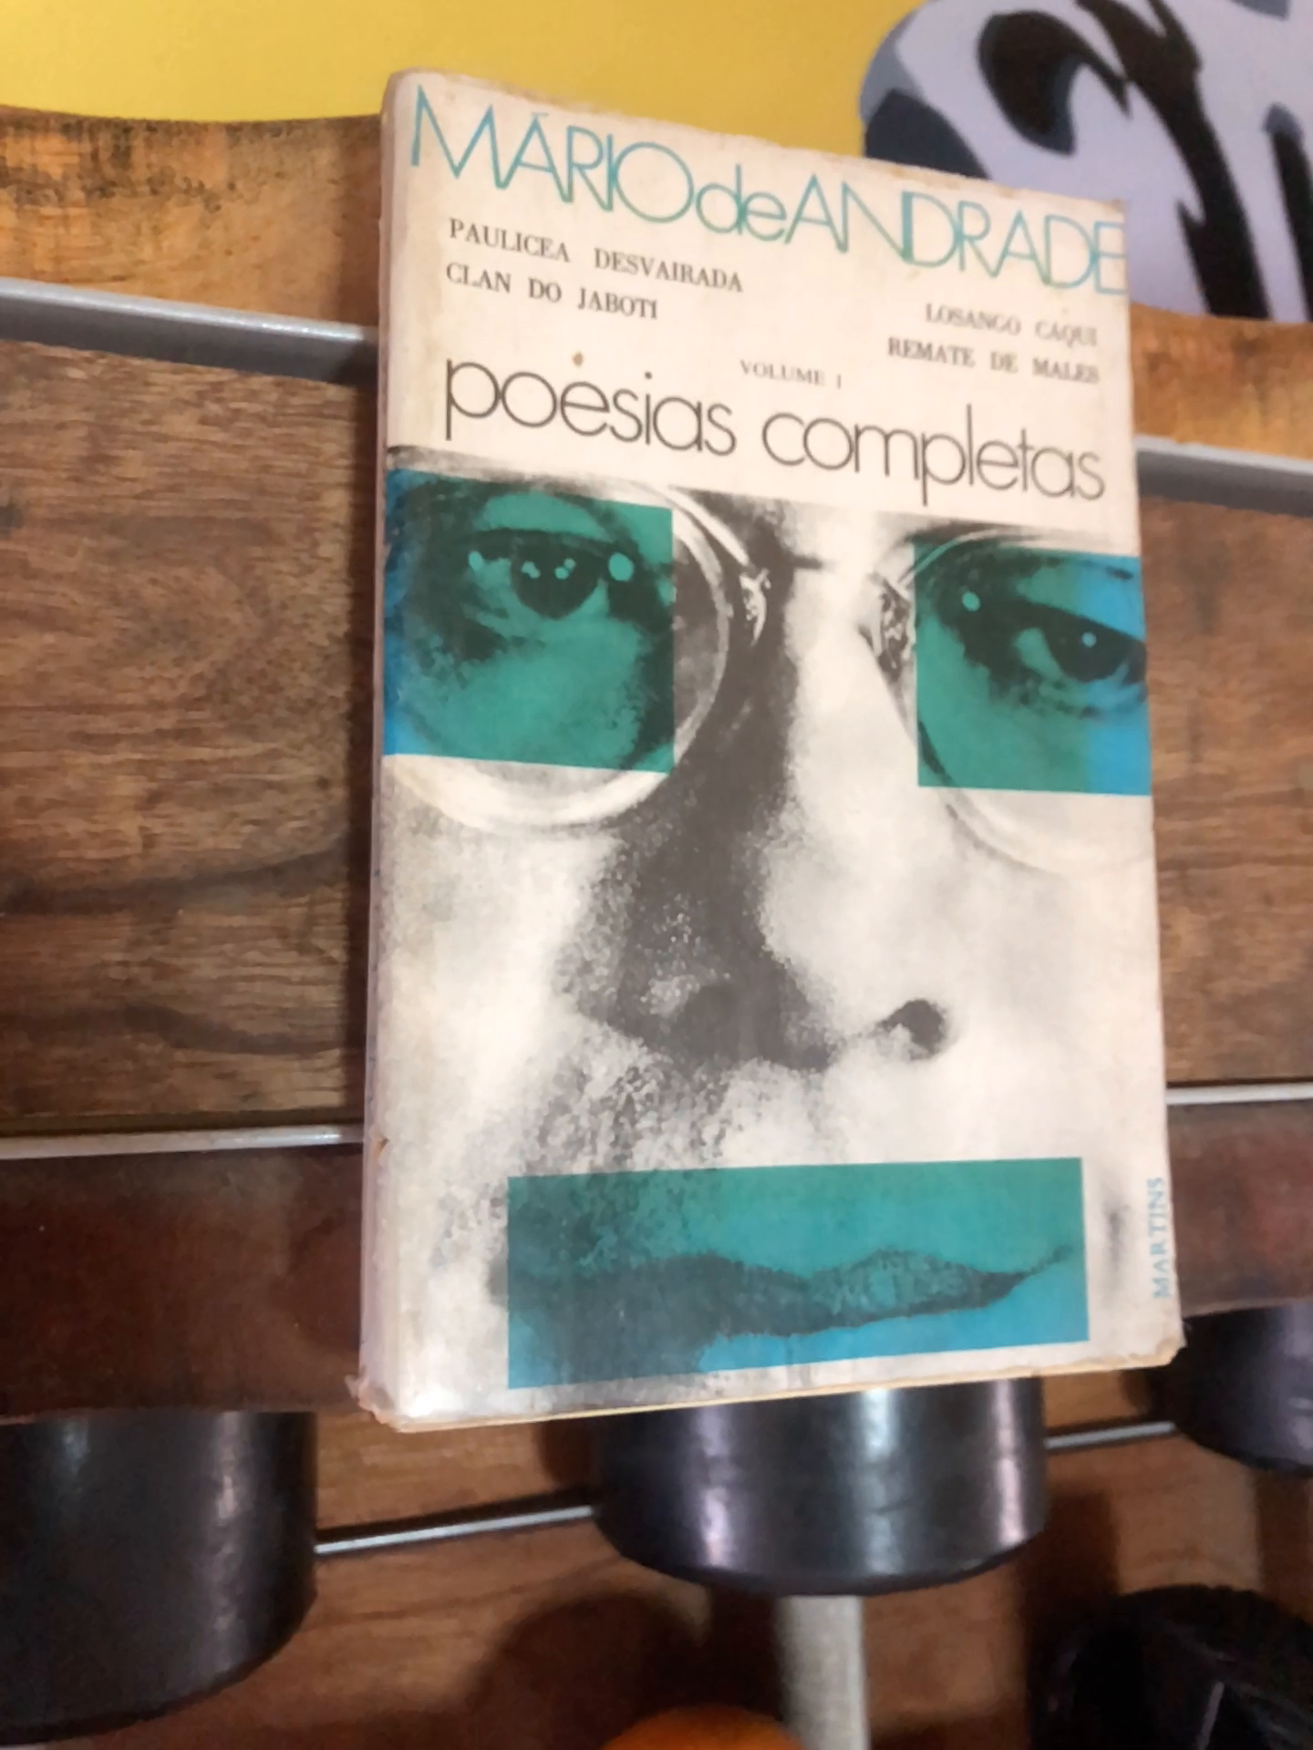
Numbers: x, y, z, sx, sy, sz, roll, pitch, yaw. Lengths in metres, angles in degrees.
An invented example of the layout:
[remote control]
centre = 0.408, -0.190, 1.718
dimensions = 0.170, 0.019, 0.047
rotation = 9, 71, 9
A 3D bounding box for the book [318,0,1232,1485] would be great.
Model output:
[book]
centre = 0.022, -0.023, 0.231
dimensions = 0.140, 0.020, 0.209
rotation = 2, 84, -19
